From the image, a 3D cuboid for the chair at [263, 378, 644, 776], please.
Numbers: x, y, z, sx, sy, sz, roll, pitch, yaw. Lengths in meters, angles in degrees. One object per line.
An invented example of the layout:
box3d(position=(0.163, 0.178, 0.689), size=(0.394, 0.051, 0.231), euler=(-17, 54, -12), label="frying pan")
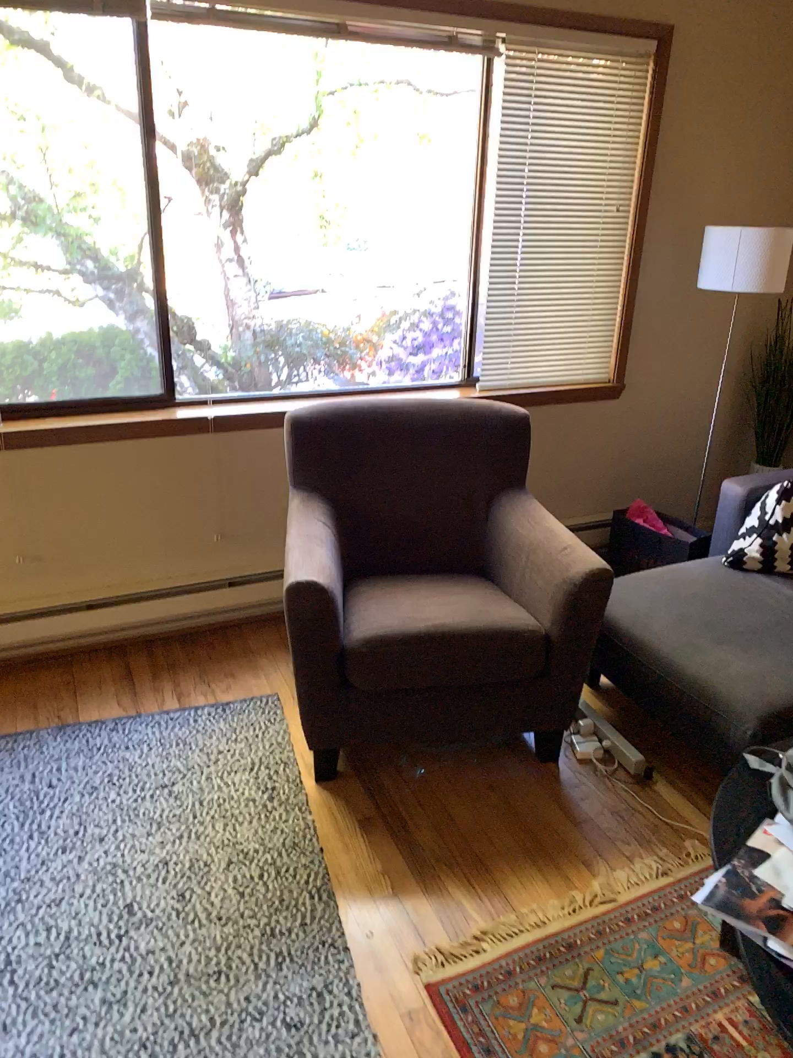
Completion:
box3d(position=(0.077, 0.066, 2.375), size=(0.880, 0.876, 0.804), euler=(-2, 20, -10), label="chair")
